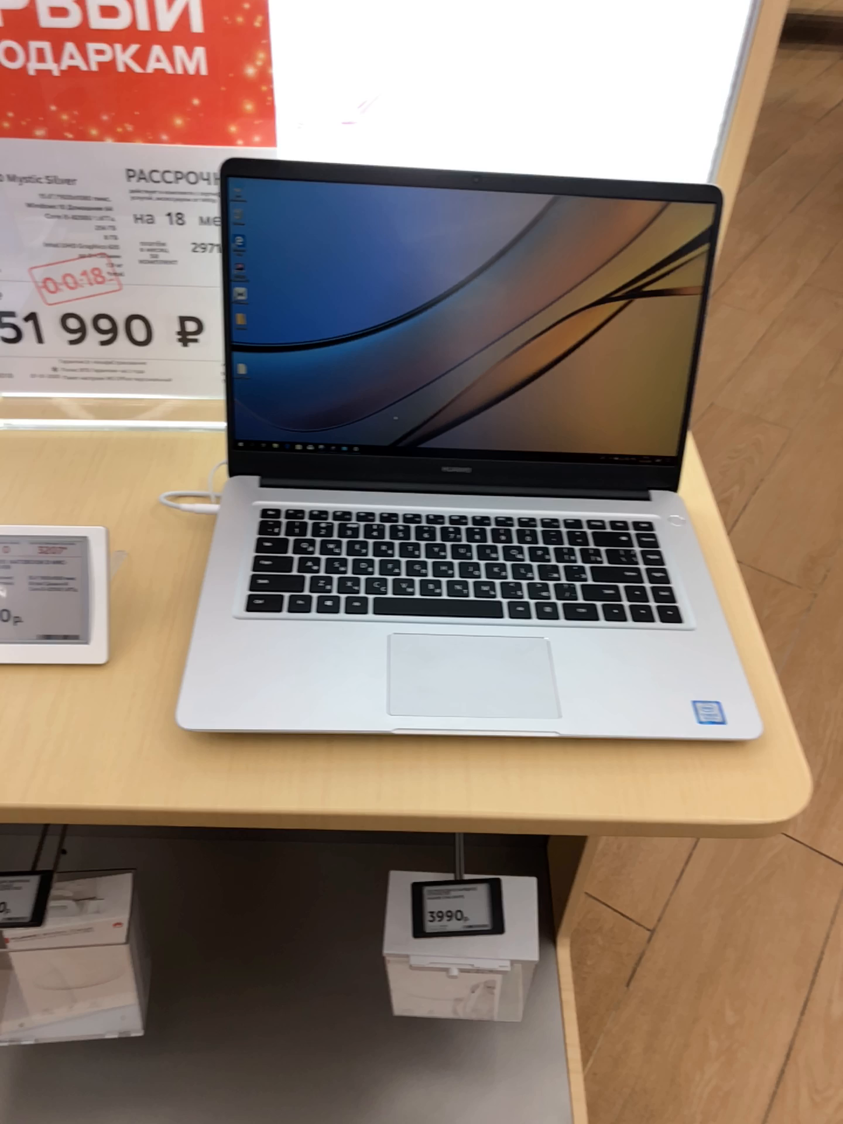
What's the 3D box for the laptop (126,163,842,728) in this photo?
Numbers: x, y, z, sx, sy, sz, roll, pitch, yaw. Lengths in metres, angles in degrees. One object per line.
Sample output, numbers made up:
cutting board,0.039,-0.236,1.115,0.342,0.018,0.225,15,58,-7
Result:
laptop,0.033,-0.084,0.592,0.340,0.204,0.307,2,43,-4
